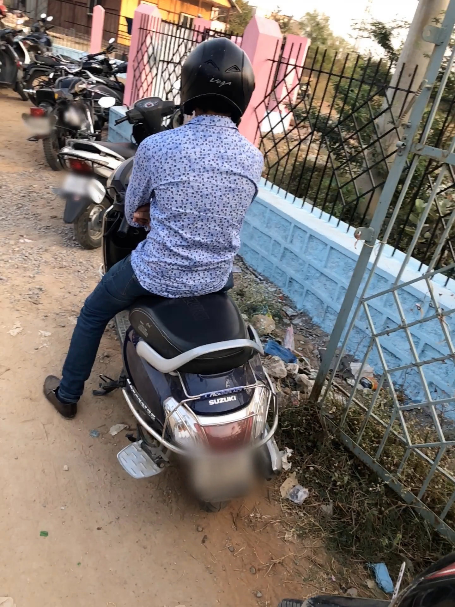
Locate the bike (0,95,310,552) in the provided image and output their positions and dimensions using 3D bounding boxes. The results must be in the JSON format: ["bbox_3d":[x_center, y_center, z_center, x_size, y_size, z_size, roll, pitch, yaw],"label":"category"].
[{"bbox_3d":[-0.486,-0.016,1.997,0.594,1.014,1.399,-3,35,-30],"label":"bike"}]
